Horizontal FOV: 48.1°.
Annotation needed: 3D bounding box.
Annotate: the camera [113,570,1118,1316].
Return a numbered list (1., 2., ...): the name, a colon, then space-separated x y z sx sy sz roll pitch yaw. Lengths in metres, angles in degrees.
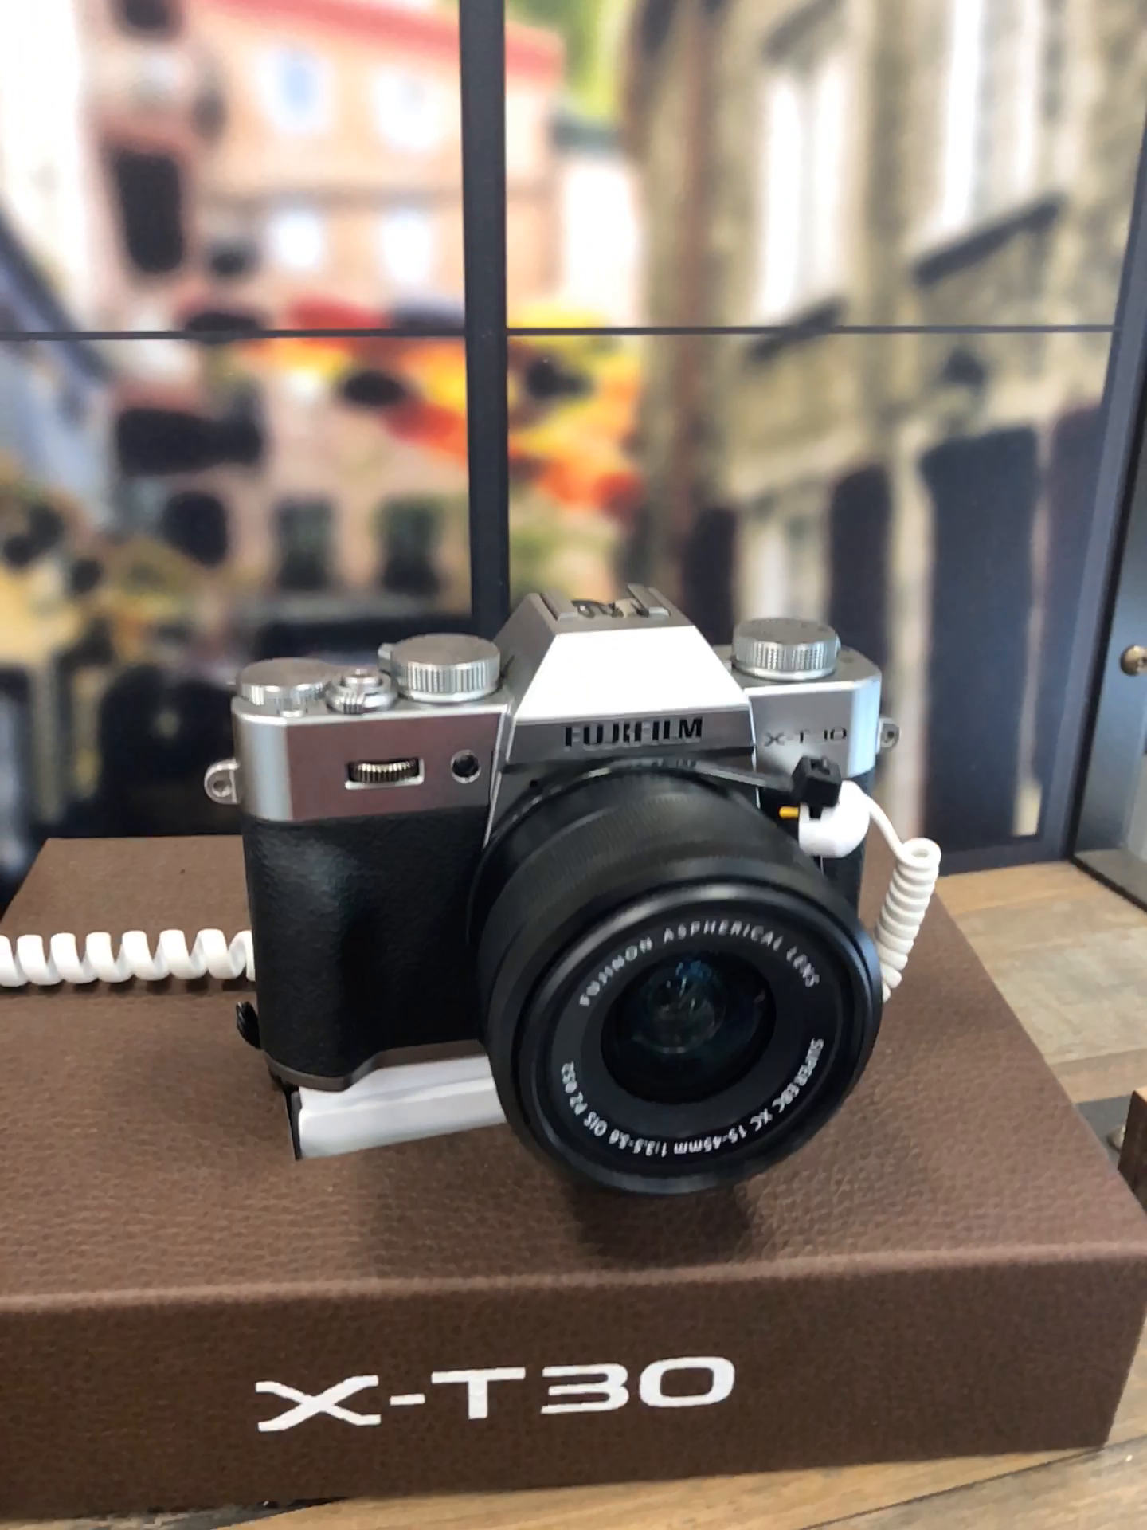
1. camera: 0.001 0.019 0.218 0.130 0.080 0.090 -3 23 -11
